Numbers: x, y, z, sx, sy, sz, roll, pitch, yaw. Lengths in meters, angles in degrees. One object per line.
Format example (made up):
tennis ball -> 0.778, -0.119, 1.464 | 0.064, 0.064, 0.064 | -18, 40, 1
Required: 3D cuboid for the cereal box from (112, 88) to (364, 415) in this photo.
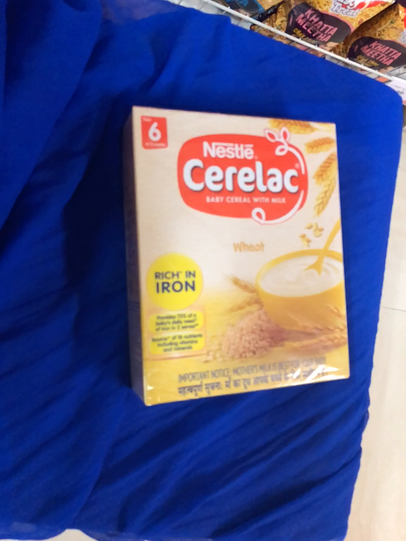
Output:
cereal box -> 0.025, -0.013, 0.316 | 0.160, 0.060, 0.190 | -2, 89, -23
